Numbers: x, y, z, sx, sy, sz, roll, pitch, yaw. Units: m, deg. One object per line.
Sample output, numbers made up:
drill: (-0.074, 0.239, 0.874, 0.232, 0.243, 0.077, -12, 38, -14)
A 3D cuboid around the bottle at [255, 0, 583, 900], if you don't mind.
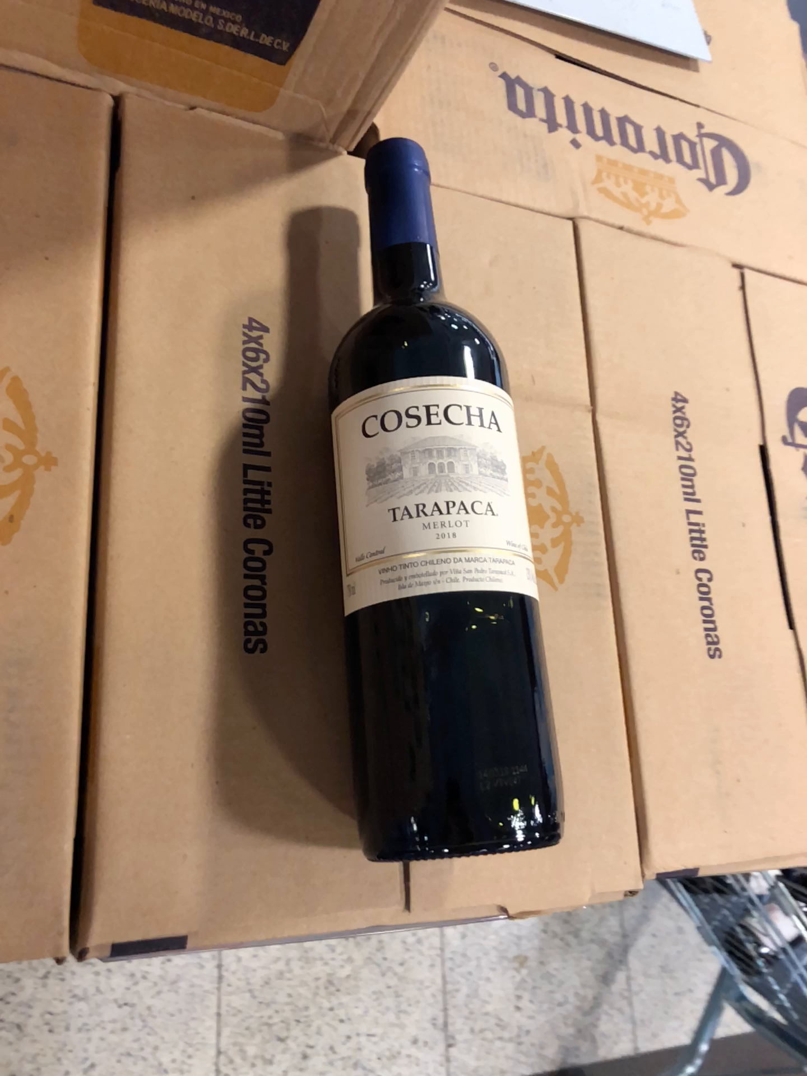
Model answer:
bottle: (-0.005, -0.045, 0.339, 0.070, 0.060, 0.331, 10, 65, -36)
